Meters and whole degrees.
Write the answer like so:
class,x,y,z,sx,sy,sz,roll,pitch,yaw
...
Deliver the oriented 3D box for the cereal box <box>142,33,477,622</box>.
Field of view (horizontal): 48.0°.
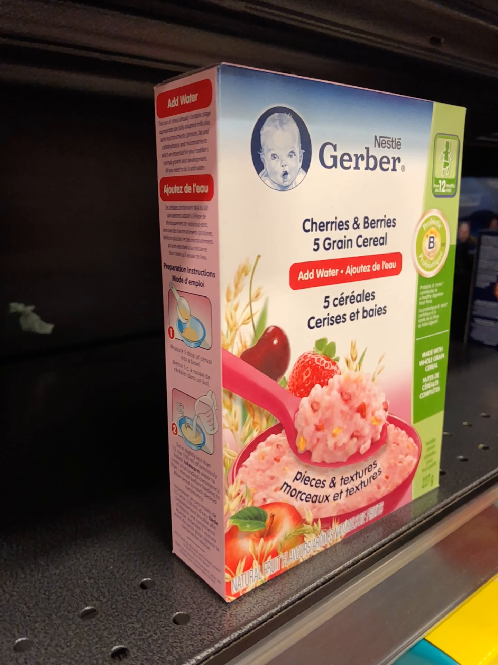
class,x,y,z,sx,sy,sz,roll,pitch,yaw
cereal box,0.033,-0.004,0.247,0.150,0.200,0.040,-9,15,-38
